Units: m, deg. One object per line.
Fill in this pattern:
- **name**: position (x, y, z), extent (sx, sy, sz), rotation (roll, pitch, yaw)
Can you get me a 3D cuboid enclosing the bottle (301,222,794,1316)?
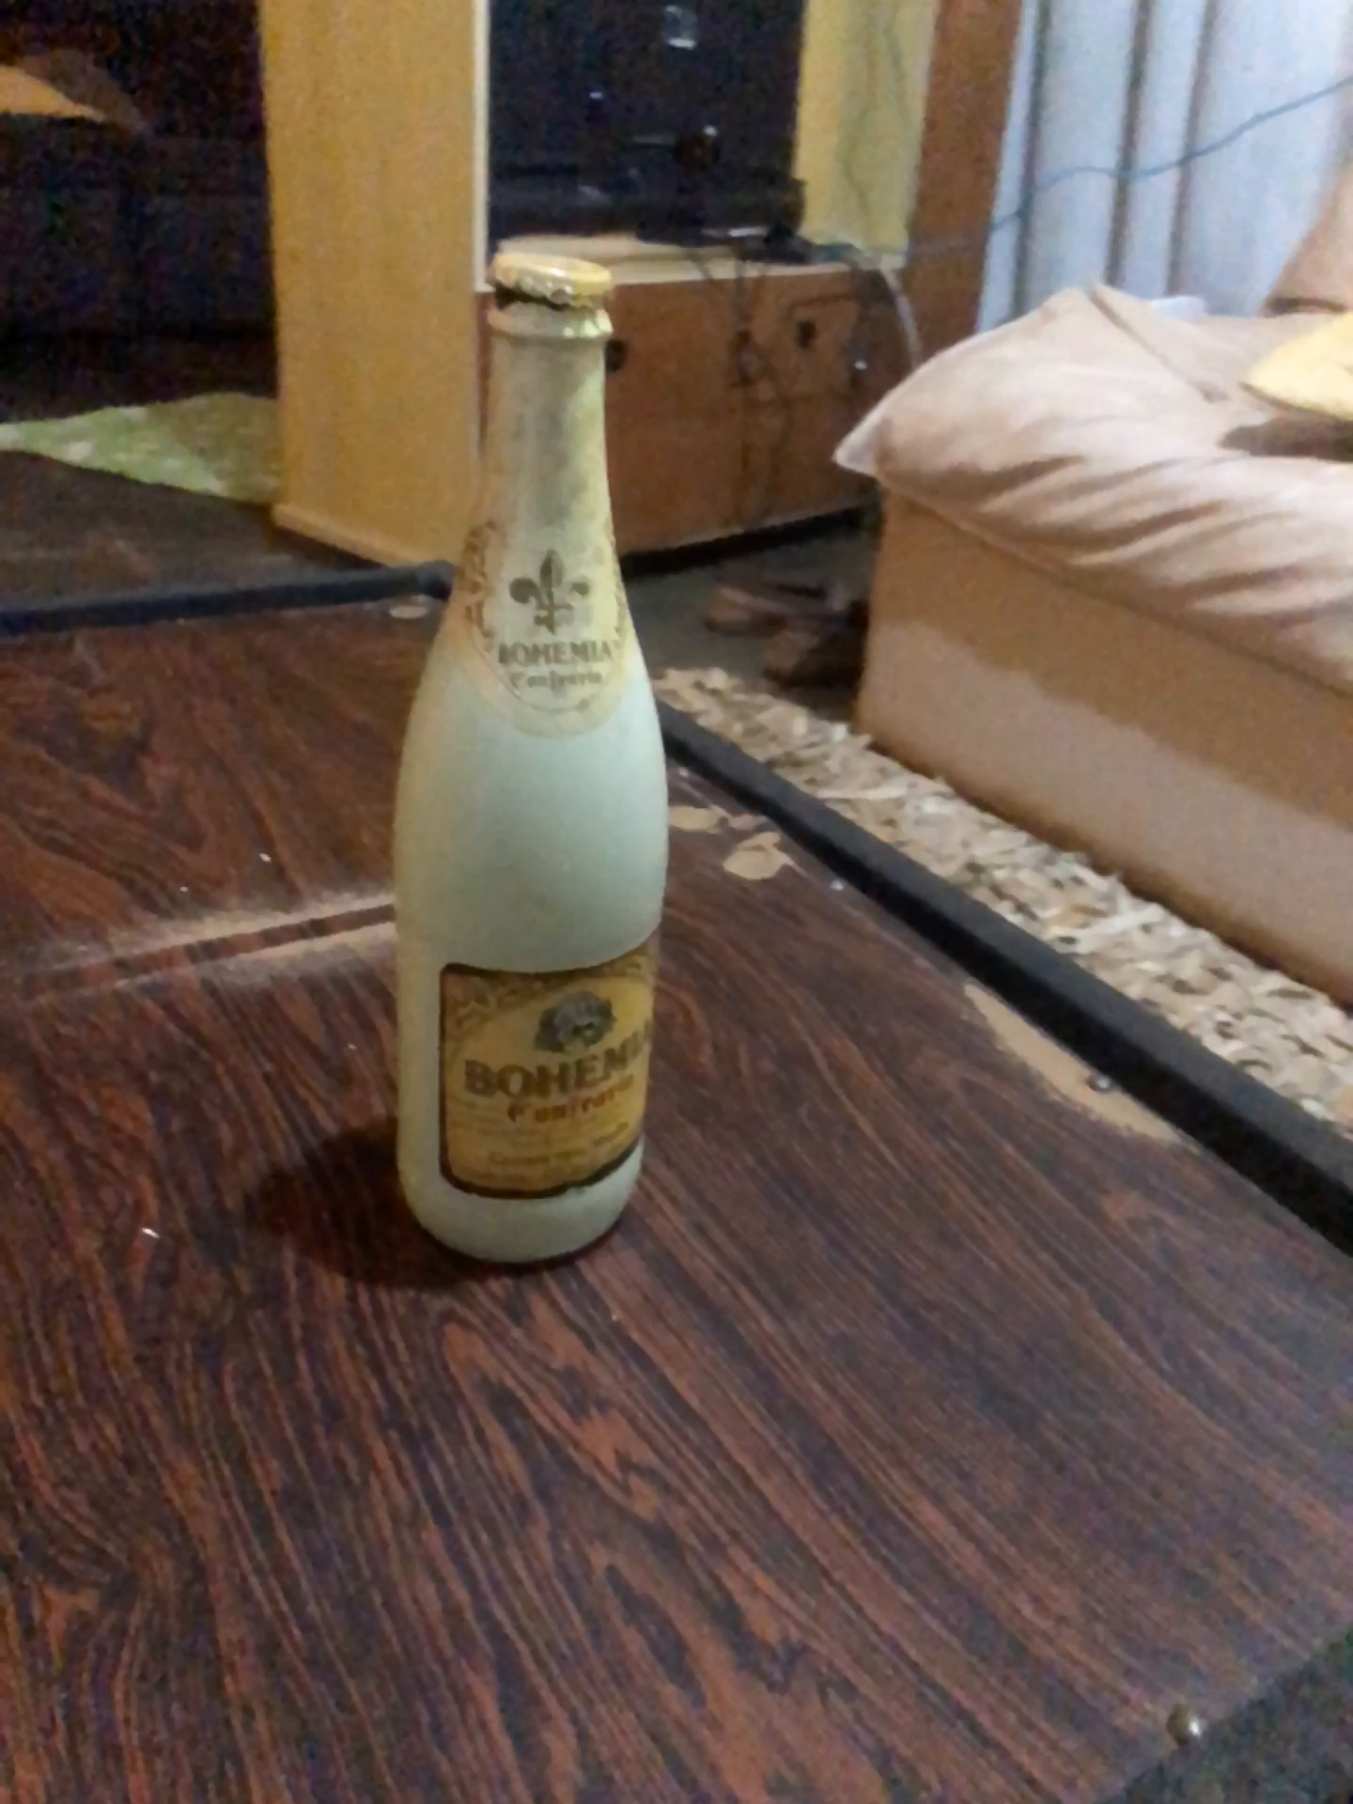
- **bottle**: position (-0.036, -0.029, 0.373), extent (0.080, 0.248, 0.080), rotation (3, 28, -1)
